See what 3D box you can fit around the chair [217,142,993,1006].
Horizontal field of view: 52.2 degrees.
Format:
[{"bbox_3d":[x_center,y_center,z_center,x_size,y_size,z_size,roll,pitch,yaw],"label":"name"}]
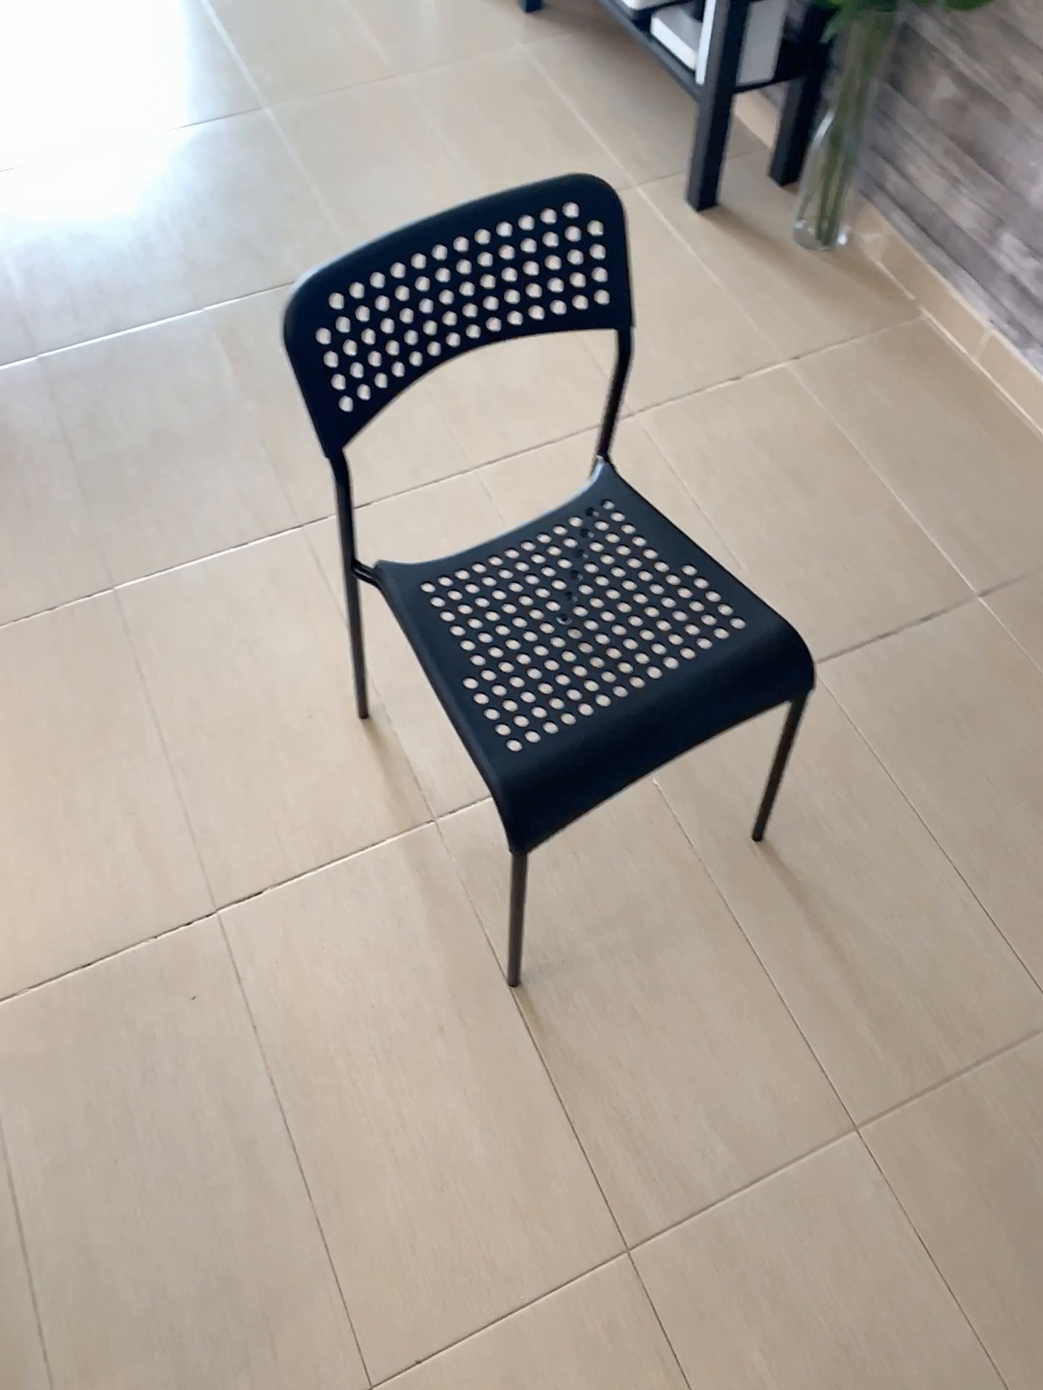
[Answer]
[{"bbox_3d":[0.046,-0.079,1.147,0.420,0.687,0.491,-27,63,-16],"label":"chair"}]
